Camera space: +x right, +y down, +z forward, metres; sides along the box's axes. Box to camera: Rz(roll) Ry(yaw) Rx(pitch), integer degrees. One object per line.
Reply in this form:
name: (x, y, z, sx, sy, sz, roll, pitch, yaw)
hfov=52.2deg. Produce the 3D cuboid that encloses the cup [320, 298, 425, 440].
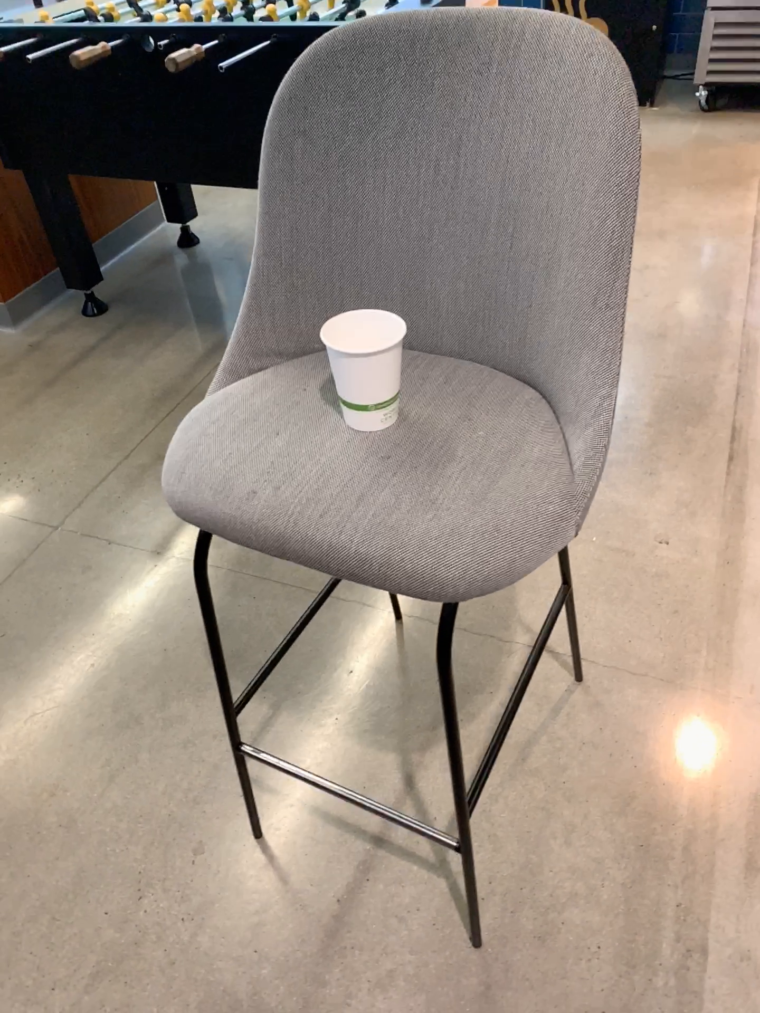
cup: (-0.007, -0.140, 0.791, 0.090, 0.099, 0.091, -4, 41, 3)
